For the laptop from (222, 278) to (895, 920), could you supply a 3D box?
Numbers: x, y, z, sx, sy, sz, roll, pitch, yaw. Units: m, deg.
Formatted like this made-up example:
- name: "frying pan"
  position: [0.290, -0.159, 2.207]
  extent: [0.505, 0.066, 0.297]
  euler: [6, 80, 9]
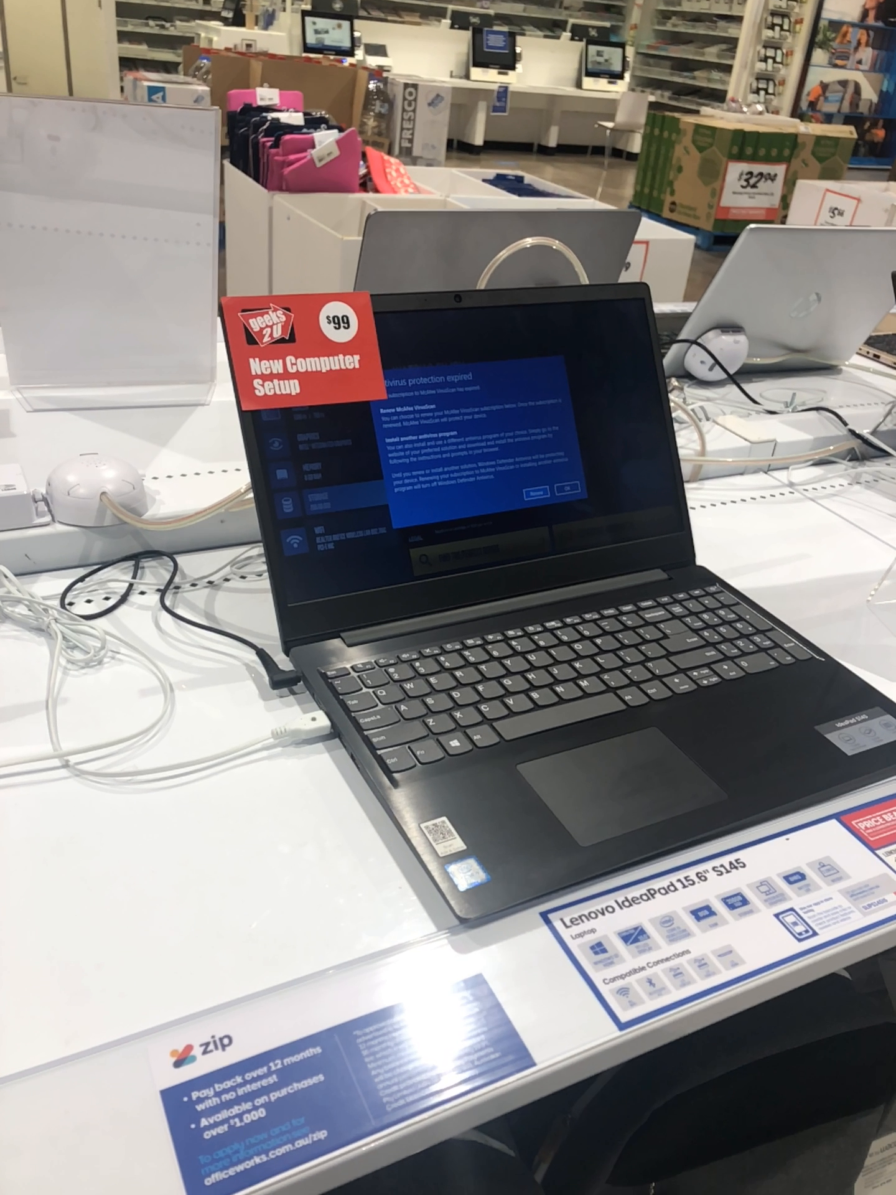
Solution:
- name: "laptop"
  position: [0.085, -0.052, 0.640]
  extent: [0.353, 0.192, 0.370]
  euler: [-11, 36, -27]
